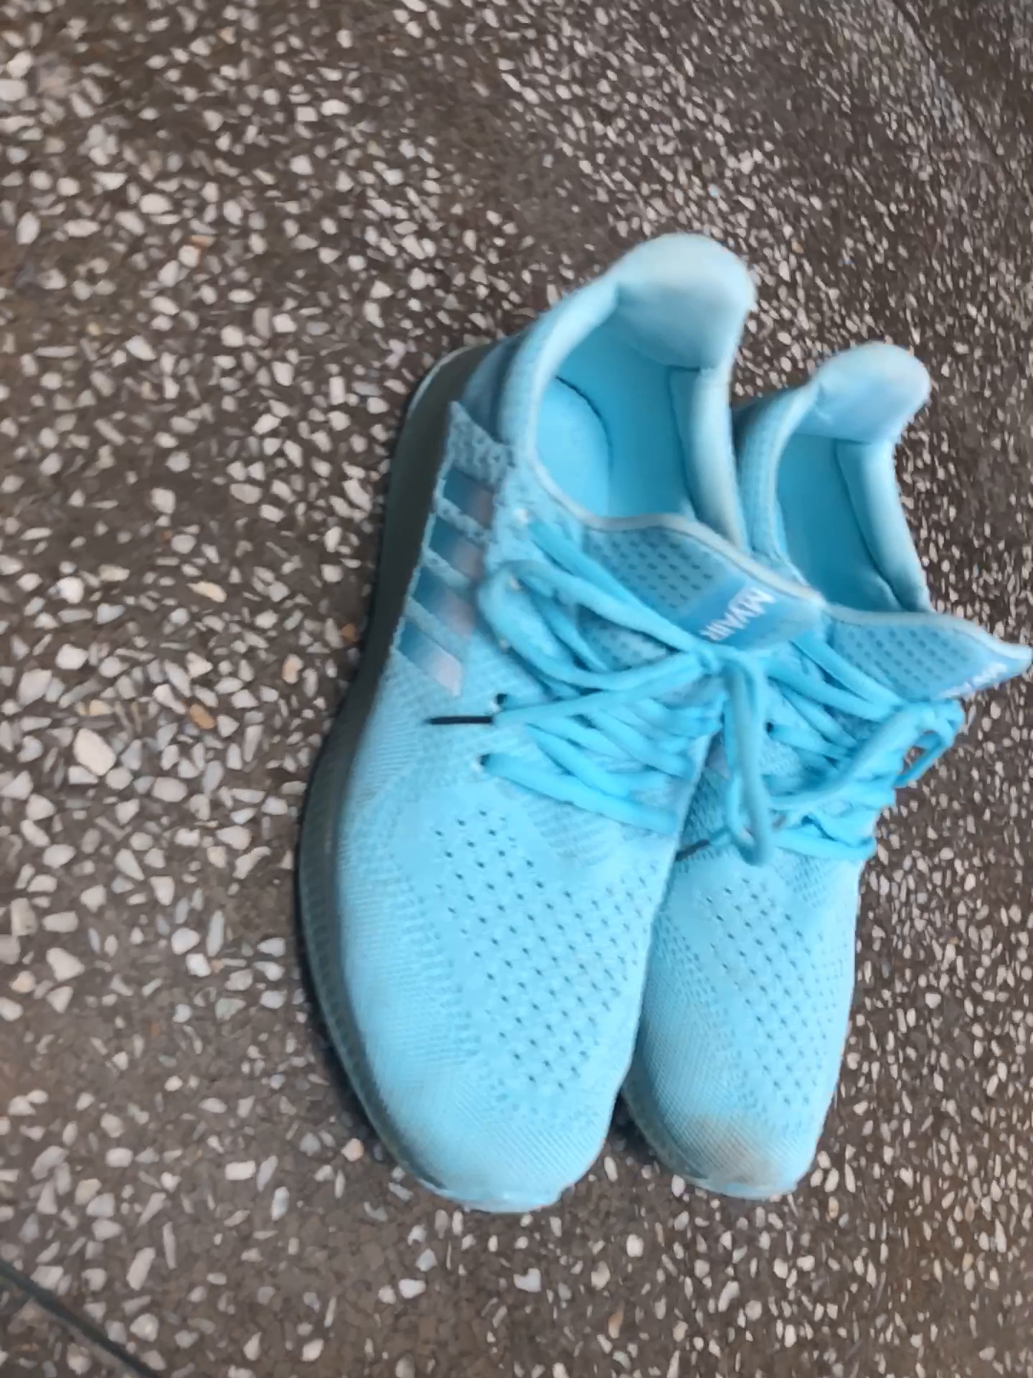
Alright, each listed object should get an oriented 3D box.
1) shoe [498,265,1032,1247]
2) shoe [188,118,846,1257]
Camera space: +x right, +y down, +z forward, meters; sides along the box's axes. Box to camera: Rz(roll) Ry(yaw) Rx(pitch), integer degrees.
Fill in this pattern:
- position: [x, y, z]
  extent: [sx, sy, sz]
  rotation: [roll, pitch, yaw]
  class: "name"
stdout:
- position: [0.087, 0.027, 0.387]
  extent: [0.121, 0.125, 0.271]
  rotation: [15, 69, -31]
  class: "shoe"
- position: [0.006, 0.007, 0.337]
  extent: [0.121, 0.125, 0.271]
  rotation: [16, 68, -30]
  class: "shoe"
